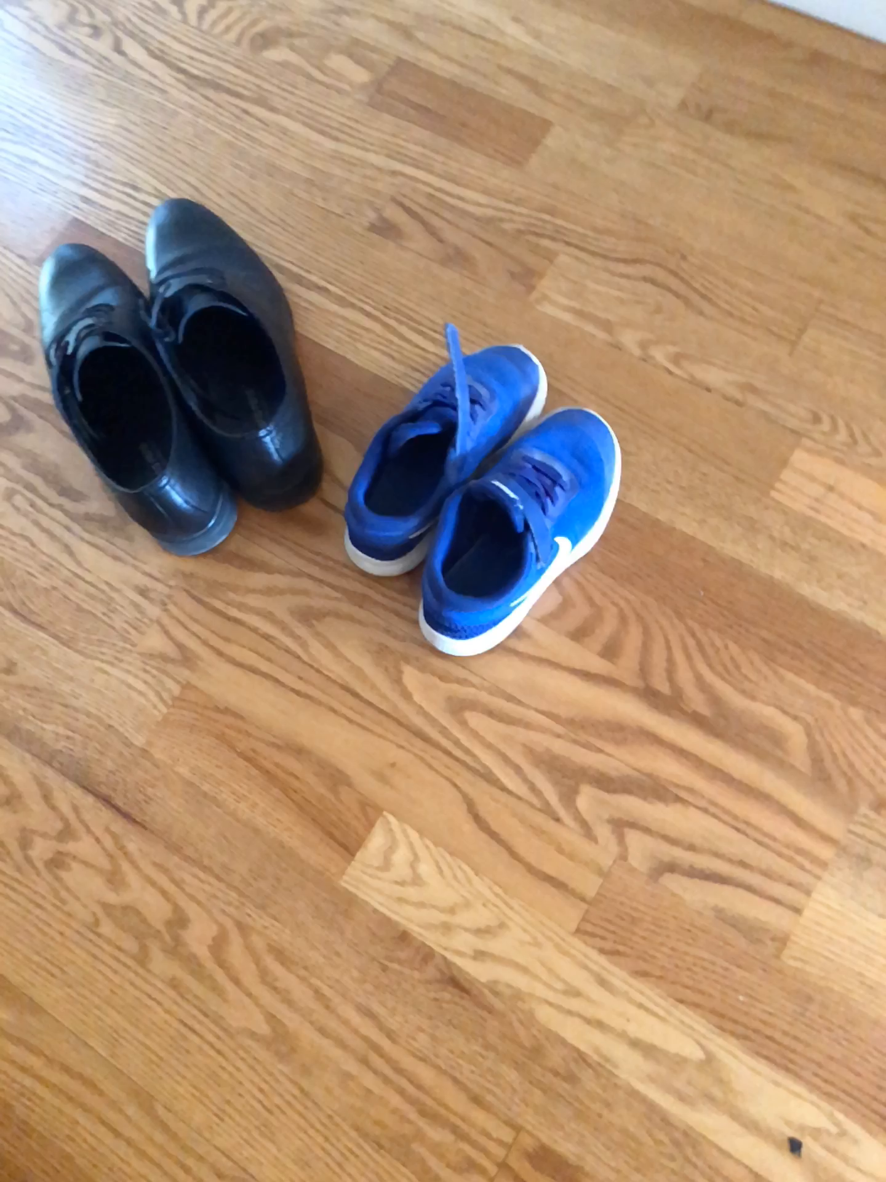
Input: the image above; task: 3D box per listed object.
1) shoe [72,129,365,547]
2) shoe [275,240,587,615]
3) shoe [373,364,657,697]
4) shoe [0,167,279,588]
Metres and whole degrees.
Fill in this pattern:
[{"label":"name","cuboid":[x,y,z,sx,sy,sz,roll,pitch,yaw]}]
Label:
[{"label":"shoe","cuboid":[-0.185,-0.211,0.792,0.120,0.090,0.320,-24,69,-3]},{"label":"shoe","cuboid":[0.000,-0.119,0.732,0.100,0.130,0.230,34,77,16]},{"label":"shoe","cuboid":[0.057,-0.046,0.723,0.100,0.070,0.220,31,76,16]},{"label":"shoe","cuboid":[-0.262,-0.177,0.783,0.120,0.090,0.320,-28,70,-4]}]
